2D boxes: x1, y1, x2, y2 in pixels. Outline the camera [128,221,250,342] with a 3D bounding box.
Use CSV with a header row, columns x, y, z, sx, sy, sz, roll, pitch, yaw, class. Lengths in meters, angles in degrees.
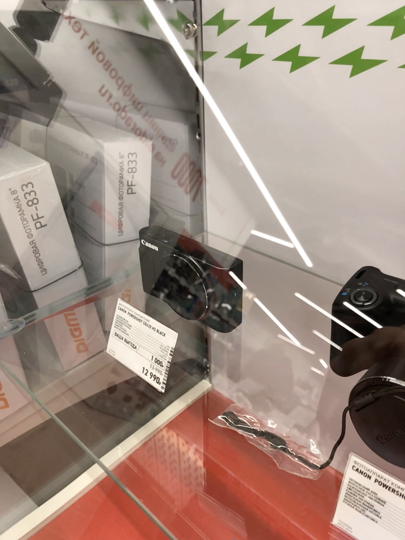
x,y,z,sx,sy,sz,roll,pitch,yaw,class
-0.012,0.006,0.346,0.098,0.055,0.030,25,39,38,camera
